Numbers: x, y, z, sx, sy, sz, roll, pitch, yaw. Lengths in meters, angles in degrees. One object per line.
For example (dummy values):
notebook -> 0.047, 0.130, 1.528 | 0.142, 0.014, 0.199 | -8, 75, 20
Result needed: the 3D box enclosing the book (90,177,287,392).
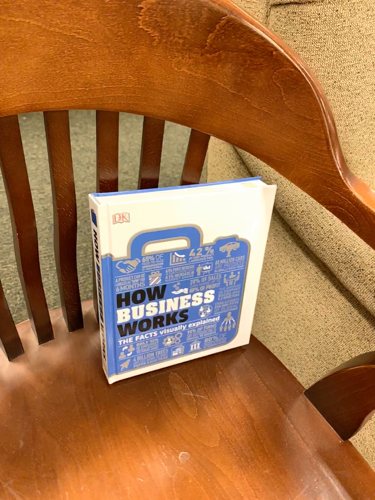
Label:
book -> -0.002, 0.043, 0.468 | 0.212, 0.246, 0.039 | -9, 33, -23
